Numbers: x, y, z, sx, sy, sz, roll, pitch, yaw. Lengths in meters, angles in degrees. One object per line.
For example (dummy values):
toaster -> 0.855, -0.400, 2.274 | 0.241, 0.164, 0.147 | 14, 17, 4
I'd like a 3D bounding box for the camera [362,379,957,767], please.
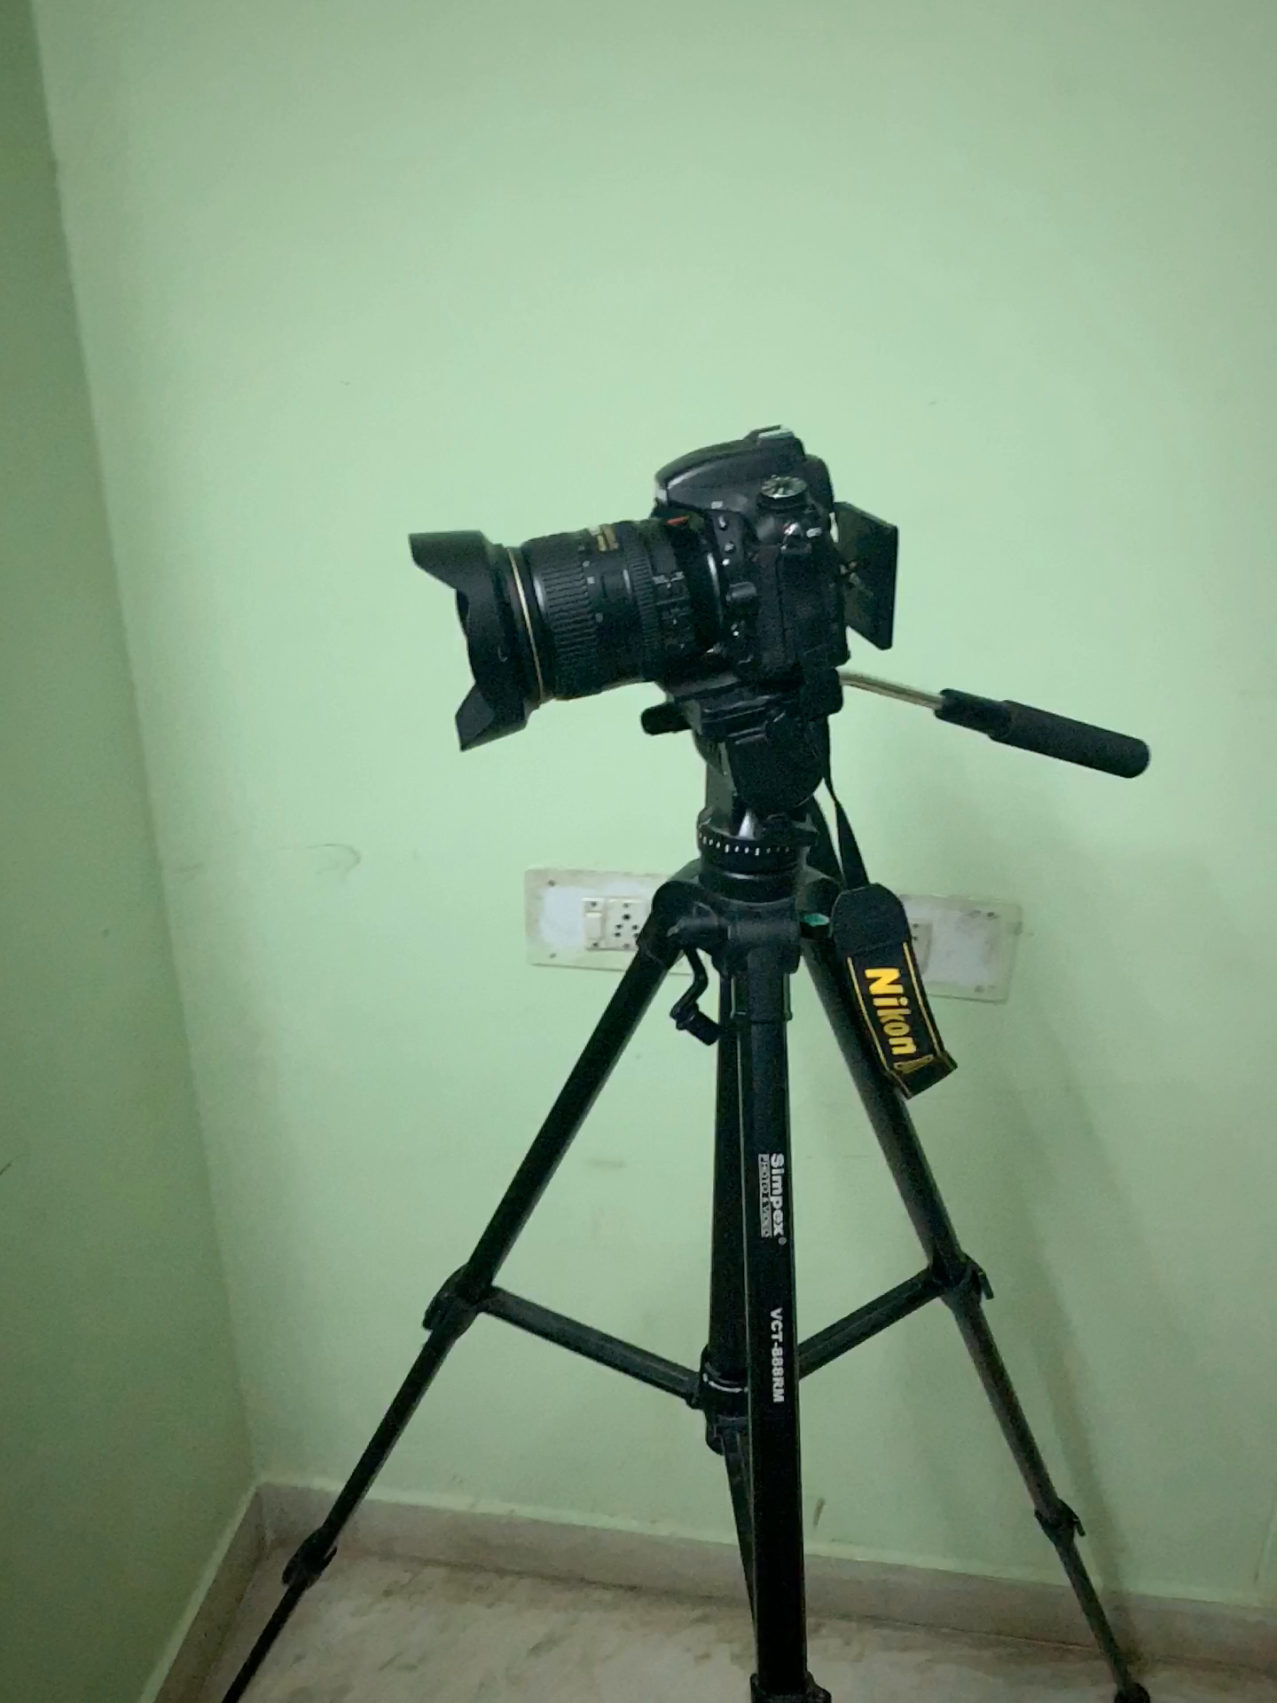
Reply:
camera -> 0.008, -0.160, 0.697 | 0.267, 0.127, 0.161 | -15, 25, -13
